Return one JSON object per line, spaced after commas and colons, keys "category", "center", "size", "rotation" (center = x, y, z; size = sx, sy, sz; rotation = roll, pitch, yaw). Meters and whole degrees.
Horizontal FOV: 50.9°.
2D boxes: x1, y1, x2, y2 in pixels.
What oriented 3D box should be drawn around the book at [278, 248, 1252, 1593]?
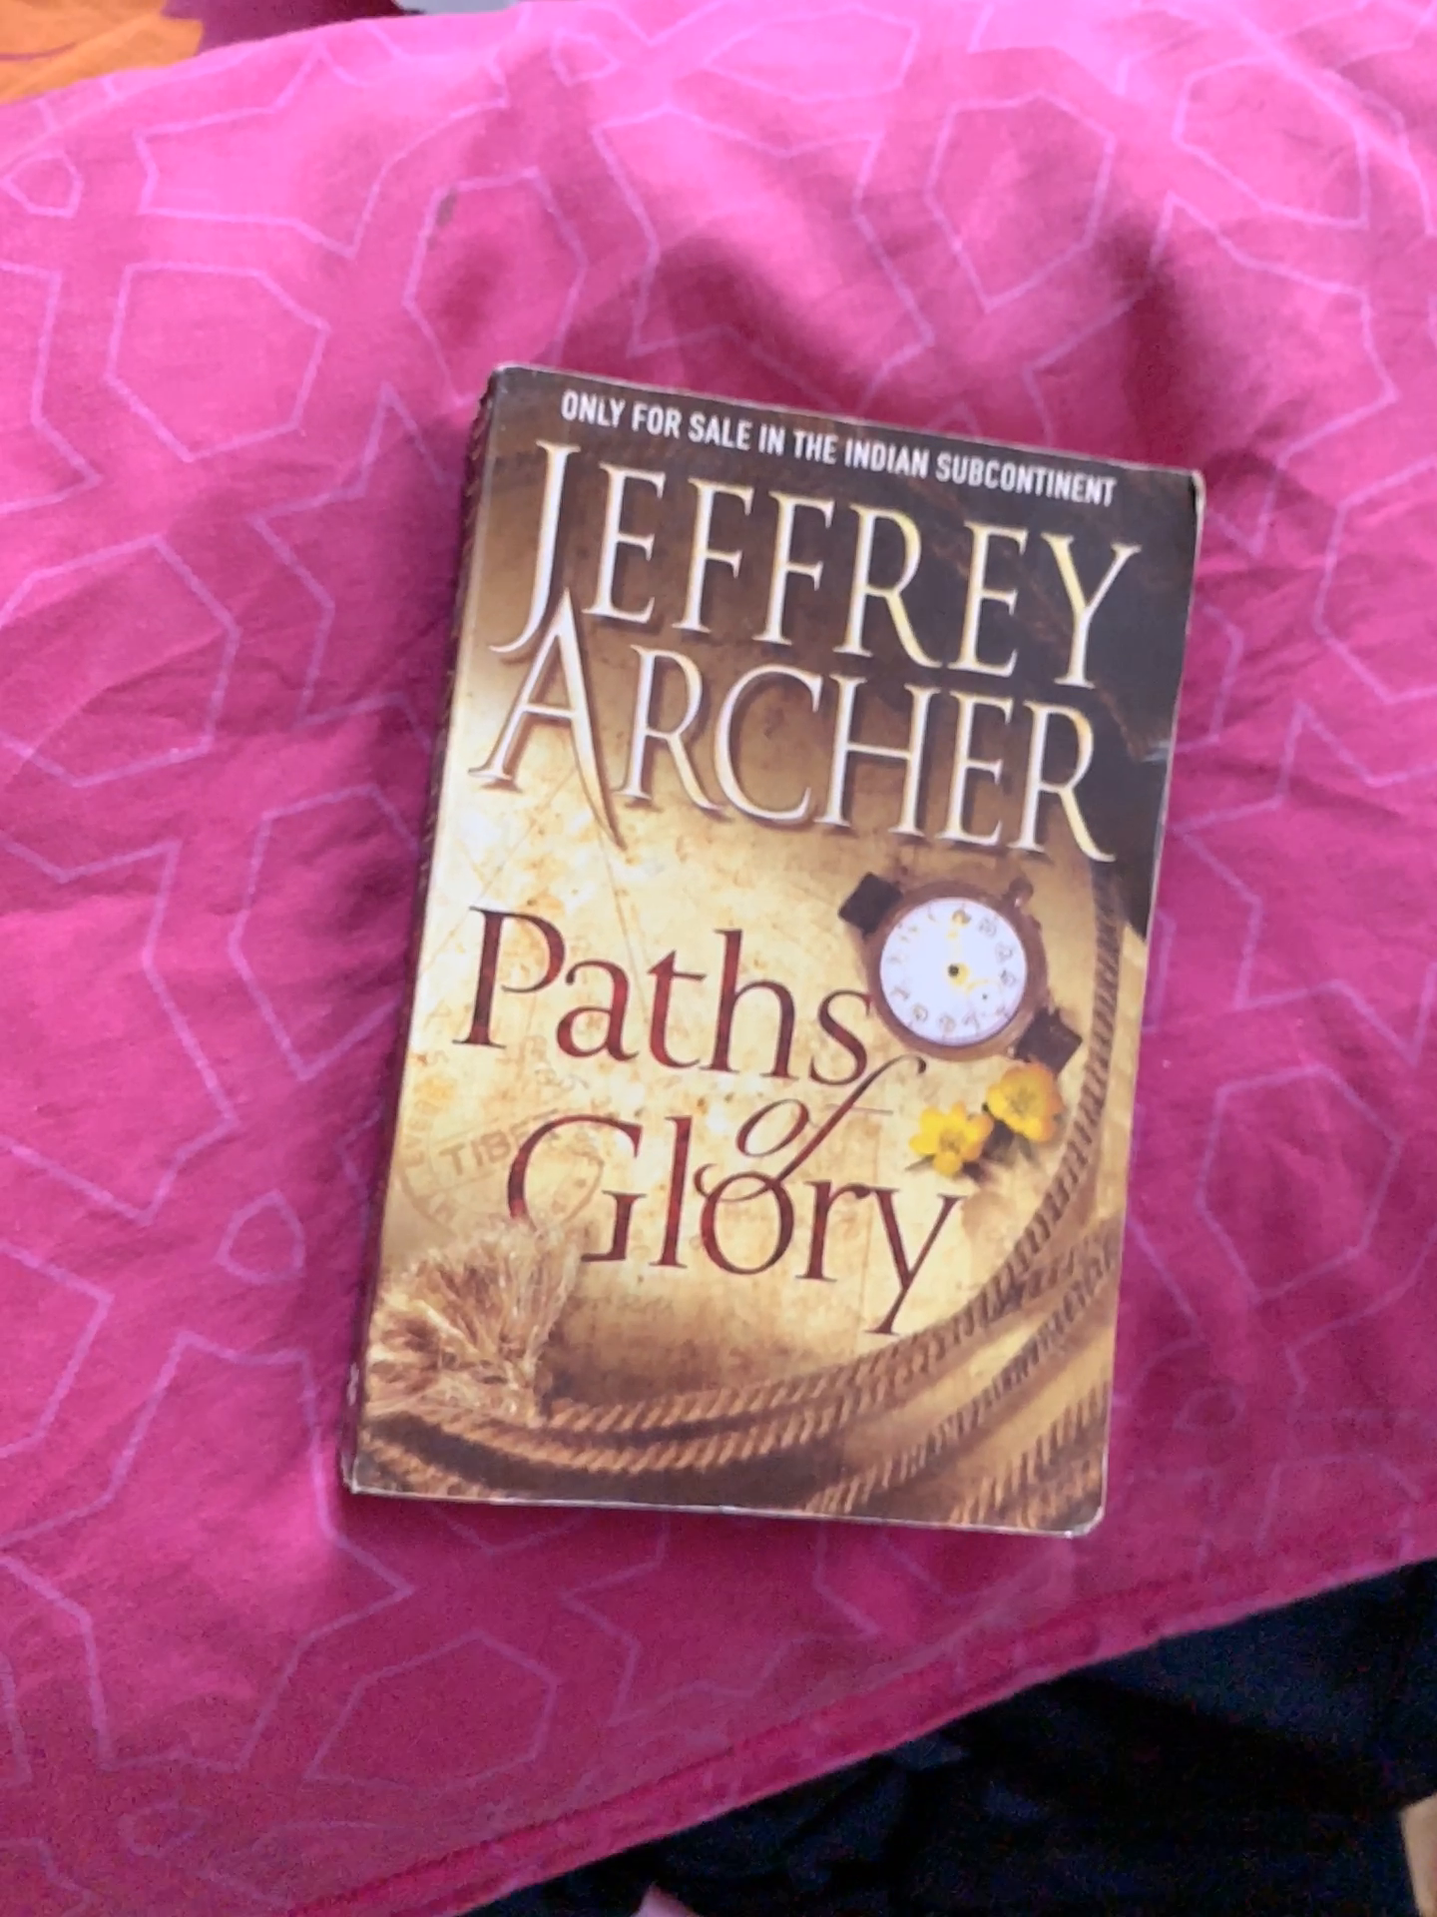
{"category": "book", "center": [0.008, -0.005, 0.237], "size": [0.120, 0.040, 0.180], "rotation": [7, 87, -5]}
